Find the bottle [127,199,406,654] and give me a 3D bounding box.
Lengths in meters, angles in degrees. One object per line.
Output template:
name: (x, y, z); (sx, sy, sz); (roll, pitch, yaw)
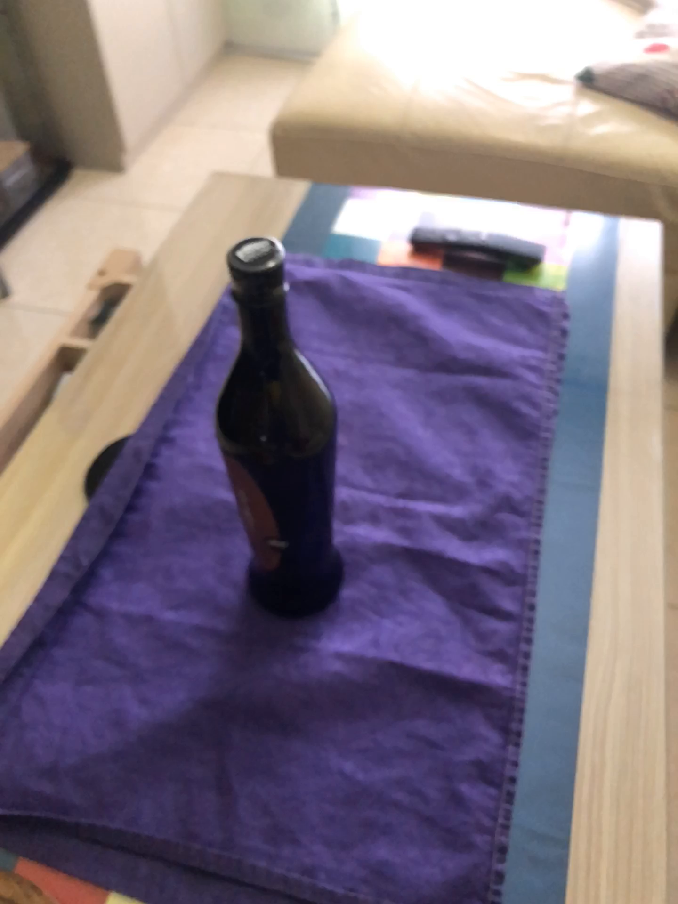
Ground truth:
bottle: (-0.032, 0.001, 0.491); (0.100, 0.279, 0.100); (-1, 49, 1)
